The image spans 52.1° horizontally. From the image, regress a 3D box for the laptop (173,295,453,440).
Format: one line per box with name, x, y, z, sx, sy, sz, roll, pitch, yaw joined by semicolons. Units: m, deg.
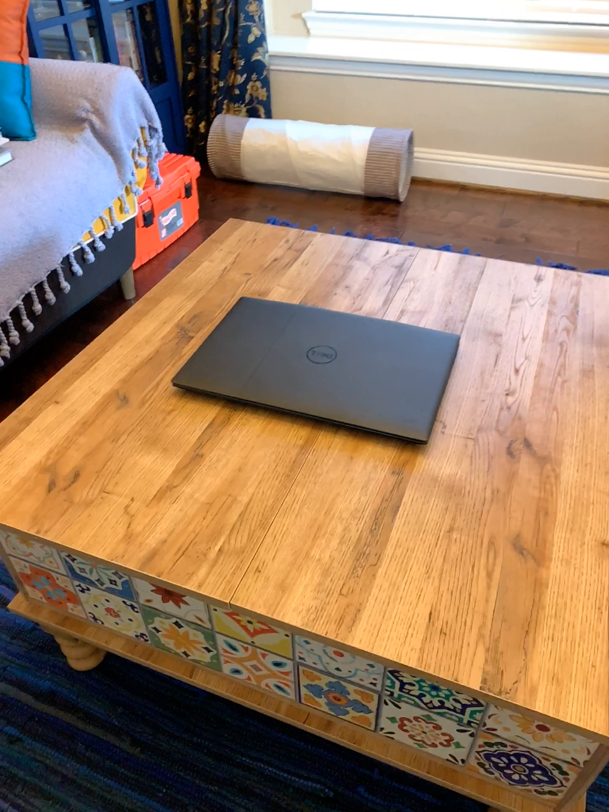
laptop;0.019;-0.069;0.883;0.346;0.001;0.228;13;43;16
